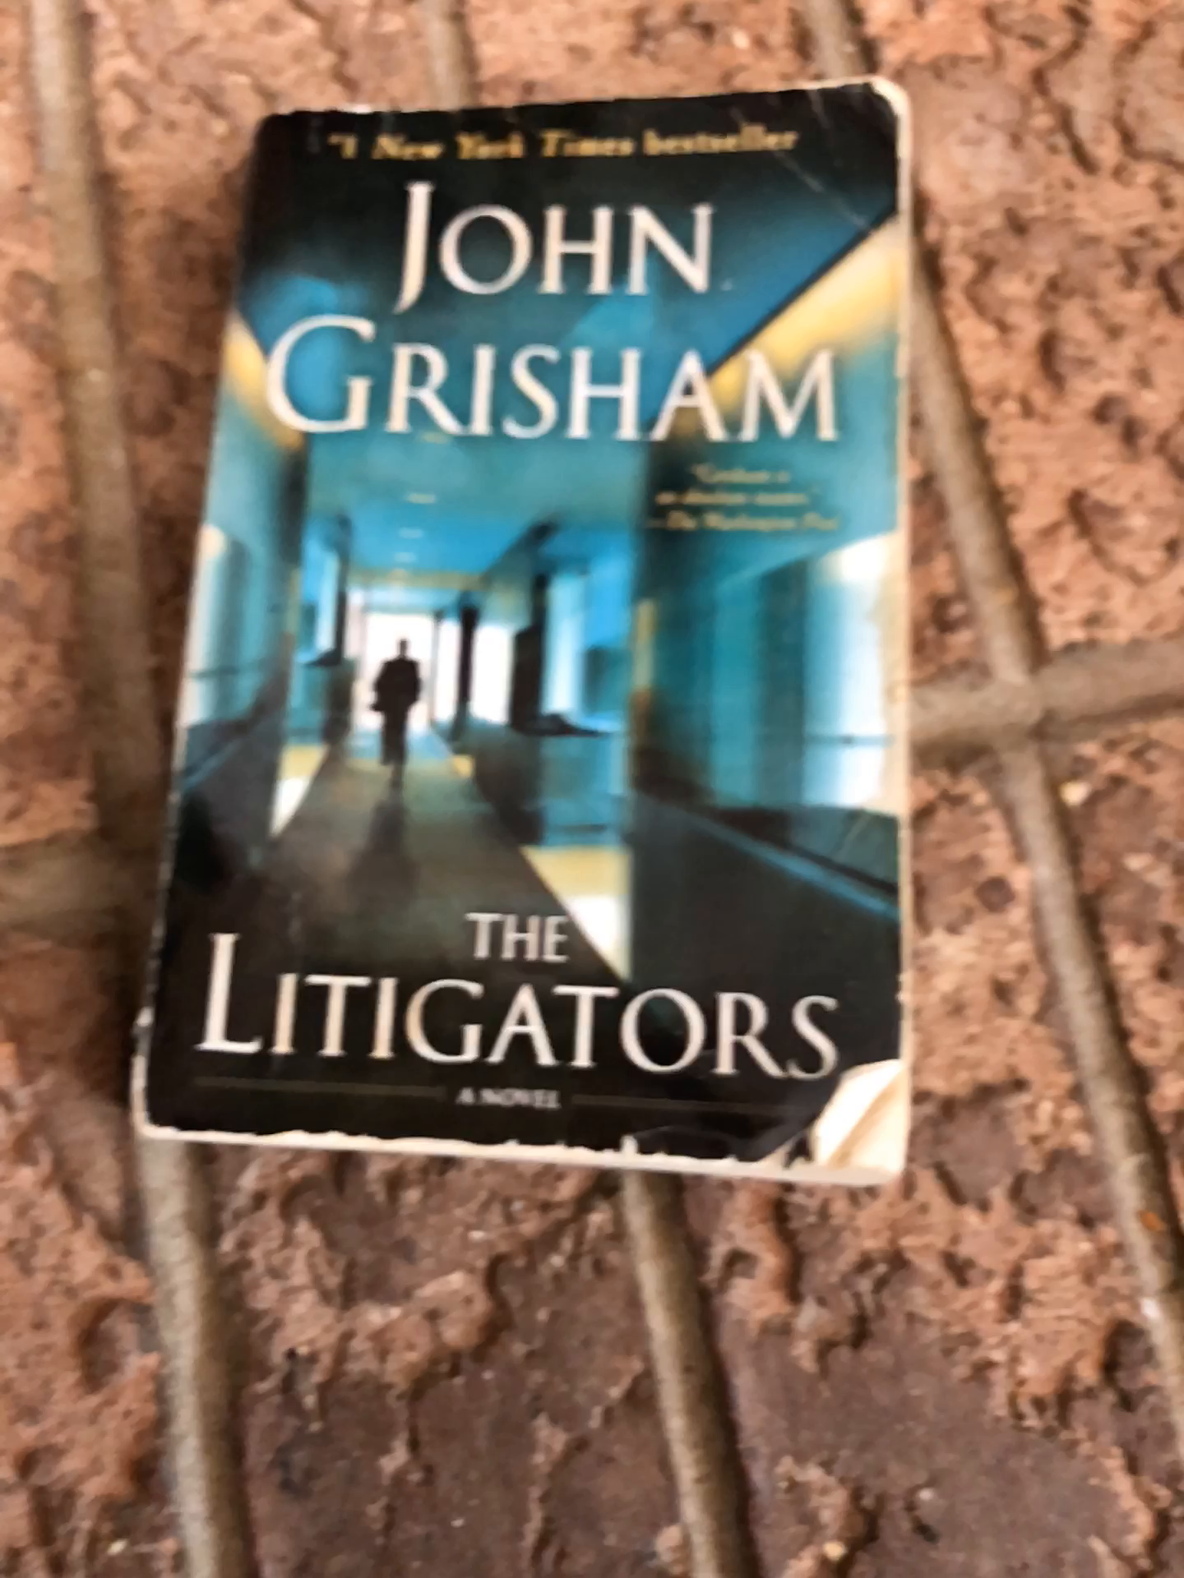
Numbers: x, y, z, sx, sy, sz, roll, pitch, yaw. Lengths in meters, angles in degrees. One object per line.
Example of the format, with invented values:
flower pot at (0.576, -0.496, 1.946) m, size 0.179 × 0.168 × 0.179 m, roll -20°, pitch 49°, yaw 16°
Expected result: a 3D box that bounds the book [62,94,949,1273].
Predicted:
book at (-0.009, -0.026, 0.243) m, size 0.135 × 0.033 × 0.199 m, roll 3°, pitch 79°, yaw 6°
